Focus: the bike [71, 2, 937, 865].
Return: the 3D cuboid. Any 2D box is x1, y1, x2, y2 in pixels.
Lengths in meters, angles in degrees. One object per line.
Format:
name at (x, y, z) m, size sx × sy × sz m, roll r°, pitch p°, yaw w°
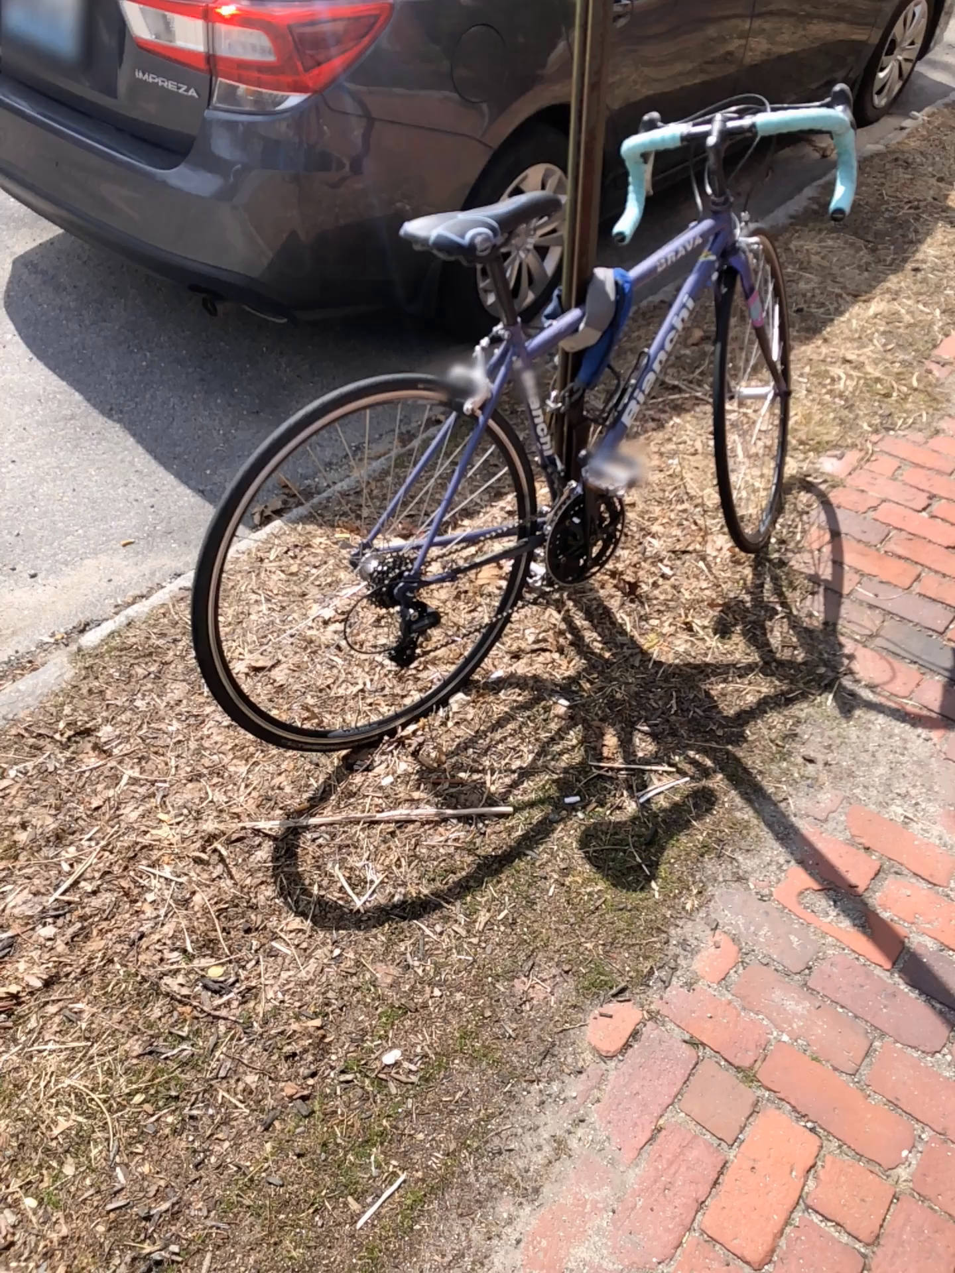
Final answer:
bike at (0.109, -0.444, 1.817) m, size 1.453 × 0.734 × 0.460 m, roll -36°, pitch 52°, yaw -27°
